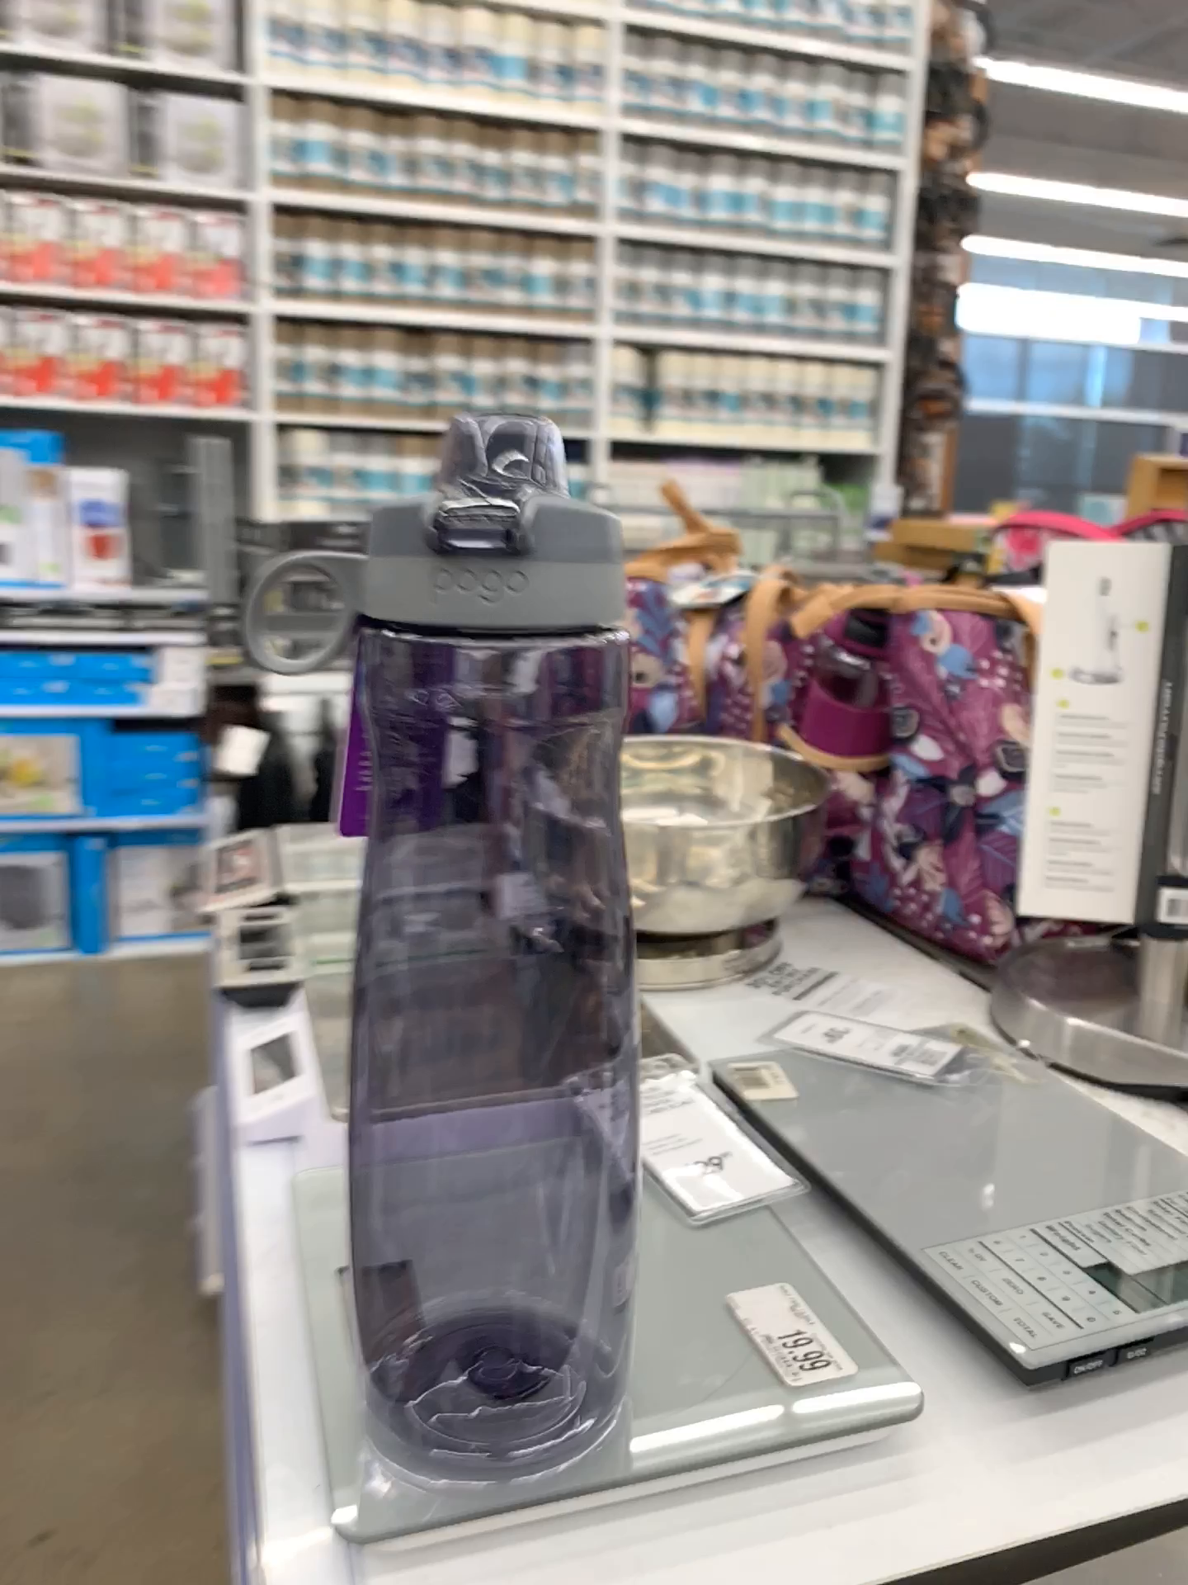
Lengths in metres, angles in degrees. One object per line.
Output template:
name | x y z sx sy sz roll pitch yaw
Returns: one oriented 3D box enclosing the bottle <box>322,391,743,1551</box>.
bottle | -0.027 0.048 0.368 0.100 0.309 0.100 2 12 0
